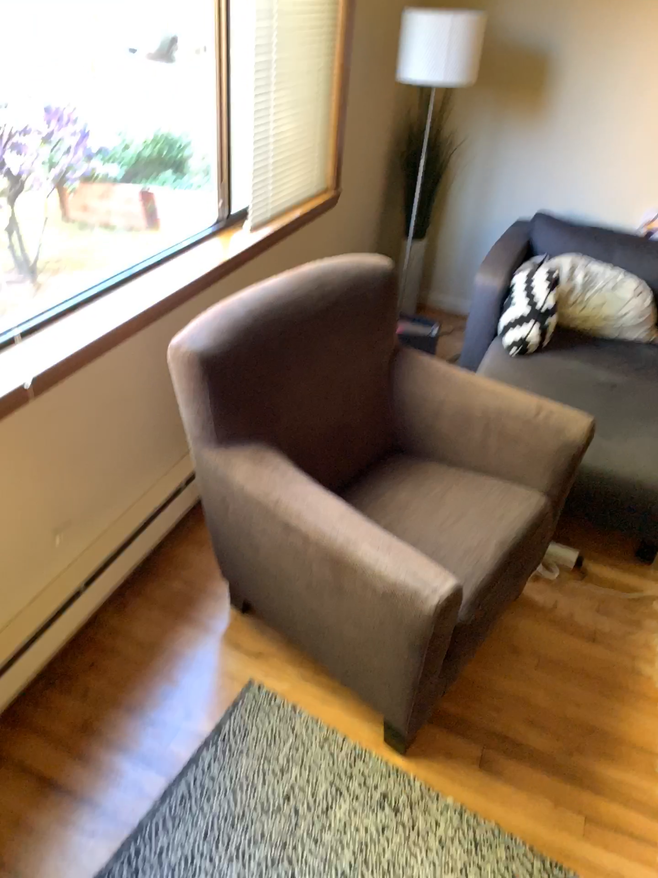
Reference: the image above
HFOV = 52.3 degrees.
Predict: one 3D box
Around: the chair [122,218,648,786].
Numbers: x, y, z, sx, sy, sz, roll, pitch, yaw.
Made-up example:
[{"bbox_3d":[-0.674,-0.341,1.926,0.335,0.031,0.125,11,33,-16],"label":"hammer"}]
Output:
[{"bbox_3d":[0.149,0.053,1.701,0.802,0.875,0.884,24,39,28],"label":"chair"}]
